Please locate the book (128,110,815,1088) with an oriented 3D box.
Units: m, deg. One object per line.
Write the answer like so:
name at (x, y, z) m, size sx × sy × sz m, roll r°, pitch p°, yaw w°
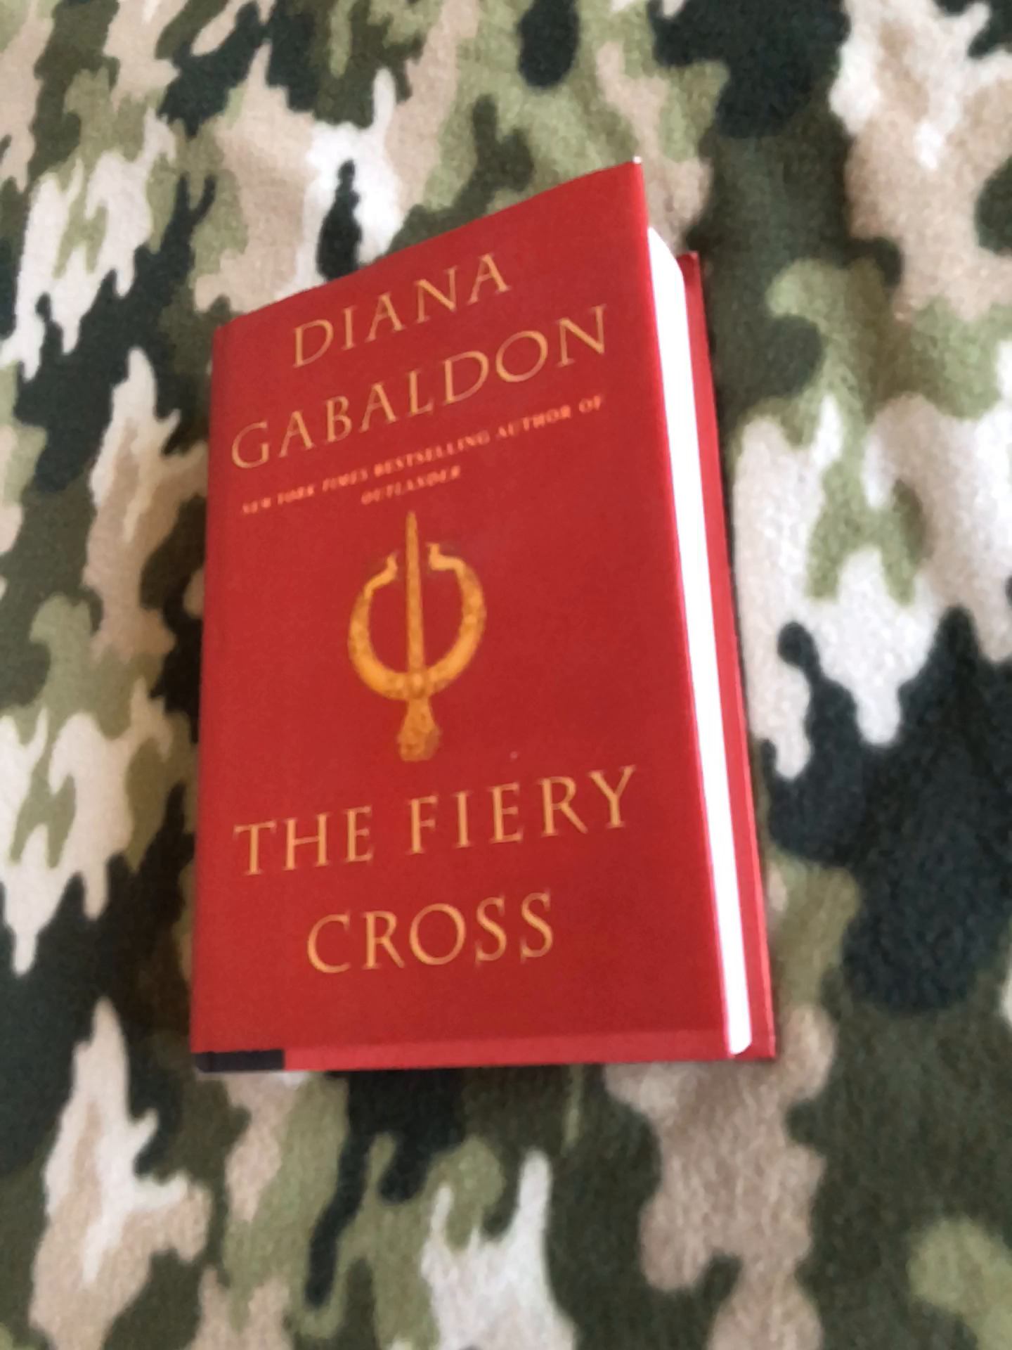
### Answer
book at (-0.017, -0.013, 0.331) m, size 0.170 × 0.070 × 0.250 m, roll -11°, pitch 71°, yaw 24°
